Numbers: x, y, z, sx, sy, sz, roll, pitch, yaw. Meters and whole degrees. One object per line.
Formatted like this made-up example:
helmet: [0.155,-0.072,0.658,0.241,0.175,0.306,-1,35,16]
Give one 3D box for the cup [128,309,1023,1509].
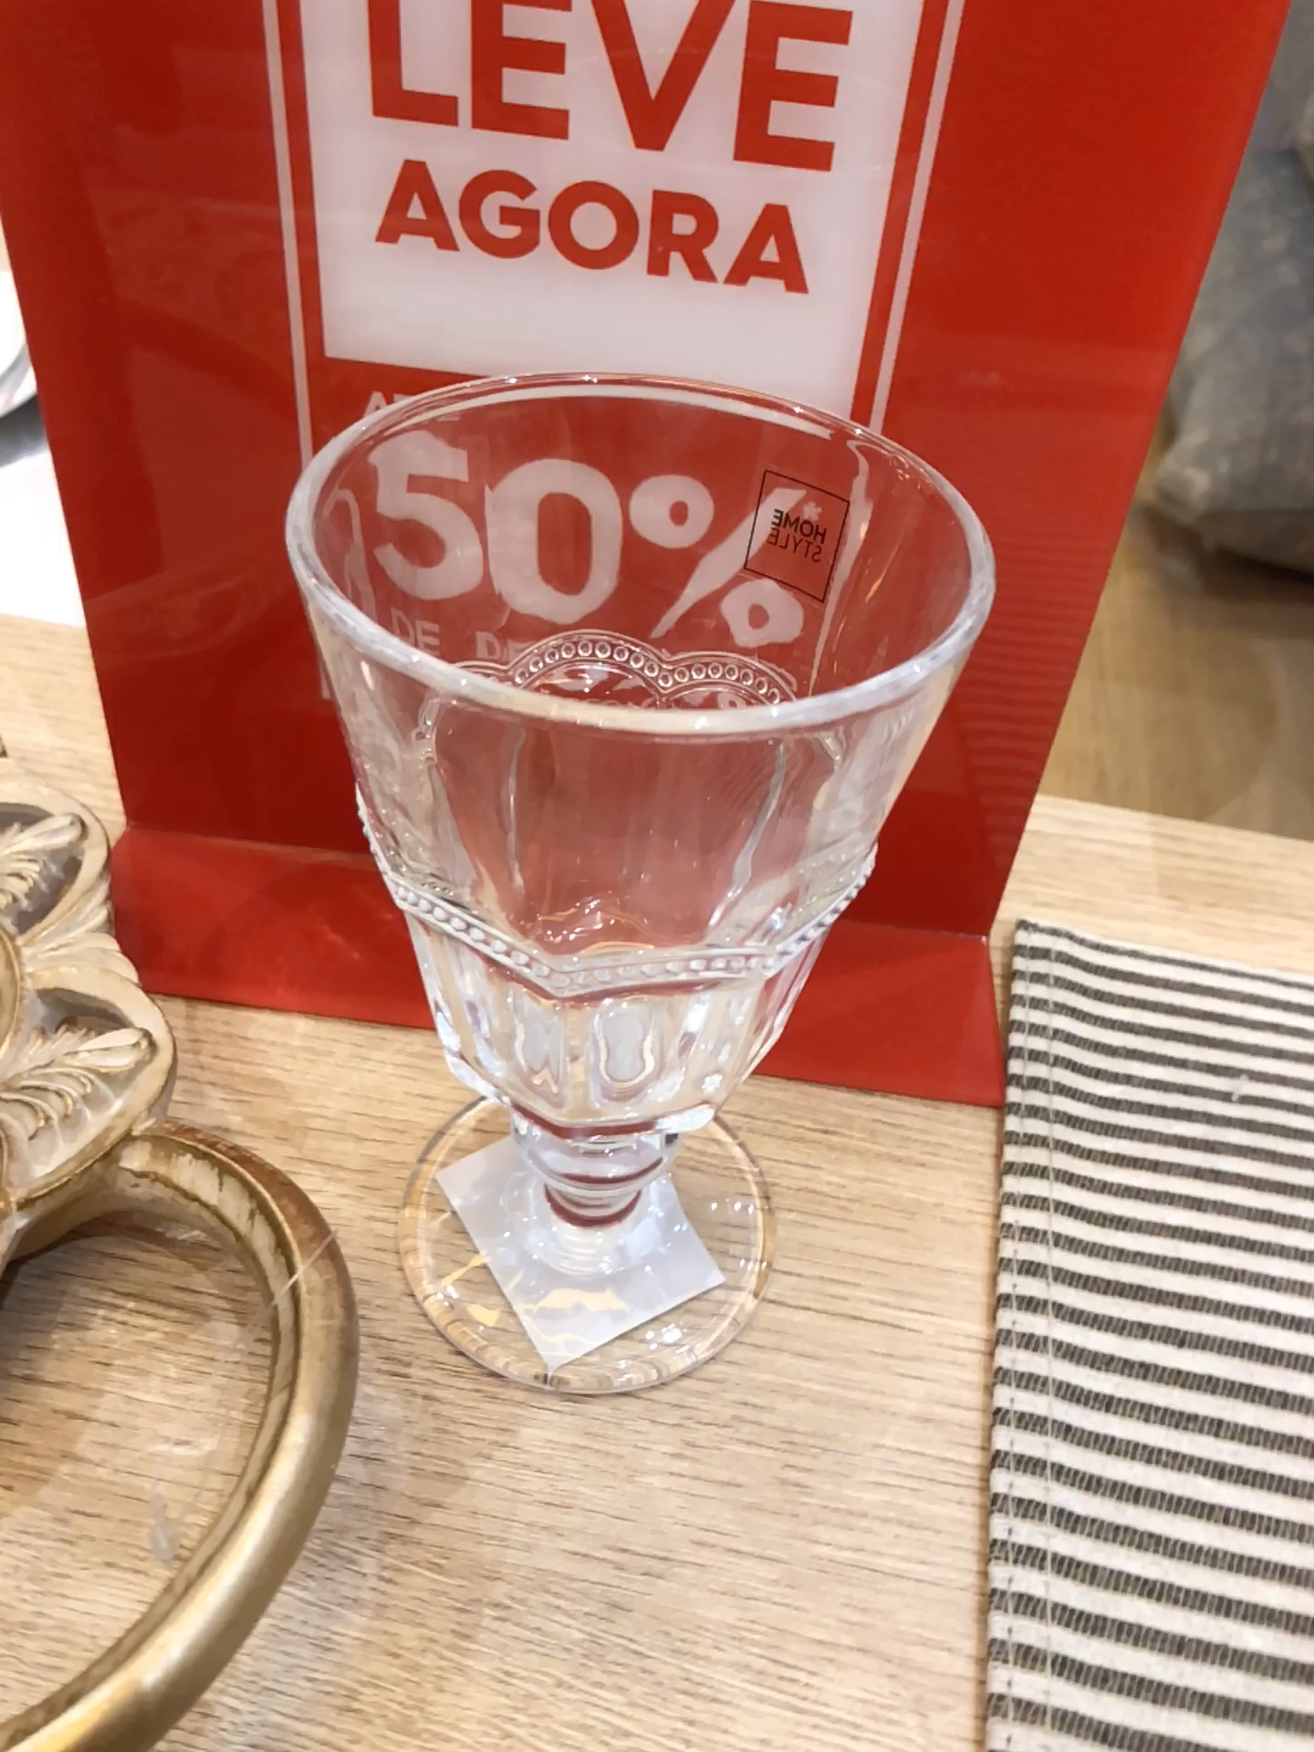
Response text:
cup: [-0.007,0.009,0.210,0.080,0.139,0.081,3,42,-3]
